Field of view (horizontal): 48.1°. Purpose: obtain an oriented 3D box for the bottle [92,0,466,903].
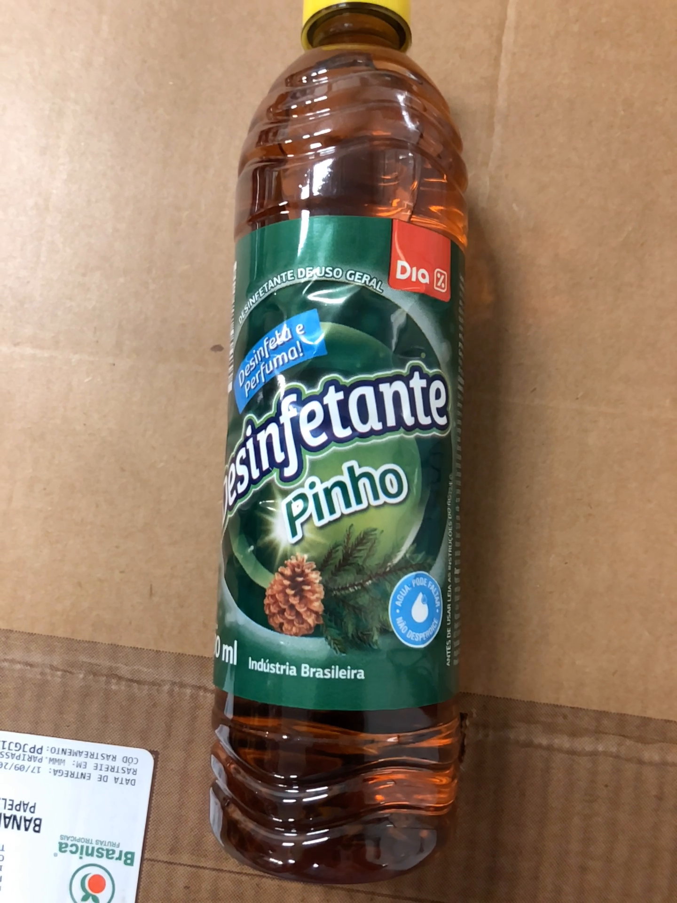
[{"bbox_3d":[-0.004,-0.014,0.183,0.060,0.070,0.220,-1,81,16],"label":"bottle"}]
